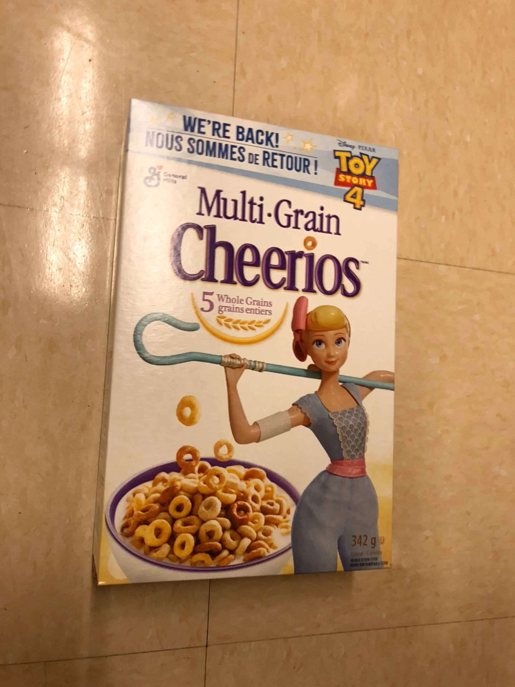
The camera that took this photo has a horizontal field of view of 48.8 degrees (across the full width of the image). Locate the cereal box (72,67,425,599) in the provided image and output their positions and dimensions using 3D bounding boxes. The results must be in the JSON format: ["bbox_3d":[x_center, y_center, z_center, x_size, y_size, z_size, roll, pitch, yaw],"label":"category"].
[{"bbox_3d":[-0.002,-0.003,0.373,0.210,0.070,0.290,4,84,-18],"label":"cereal box"}]
